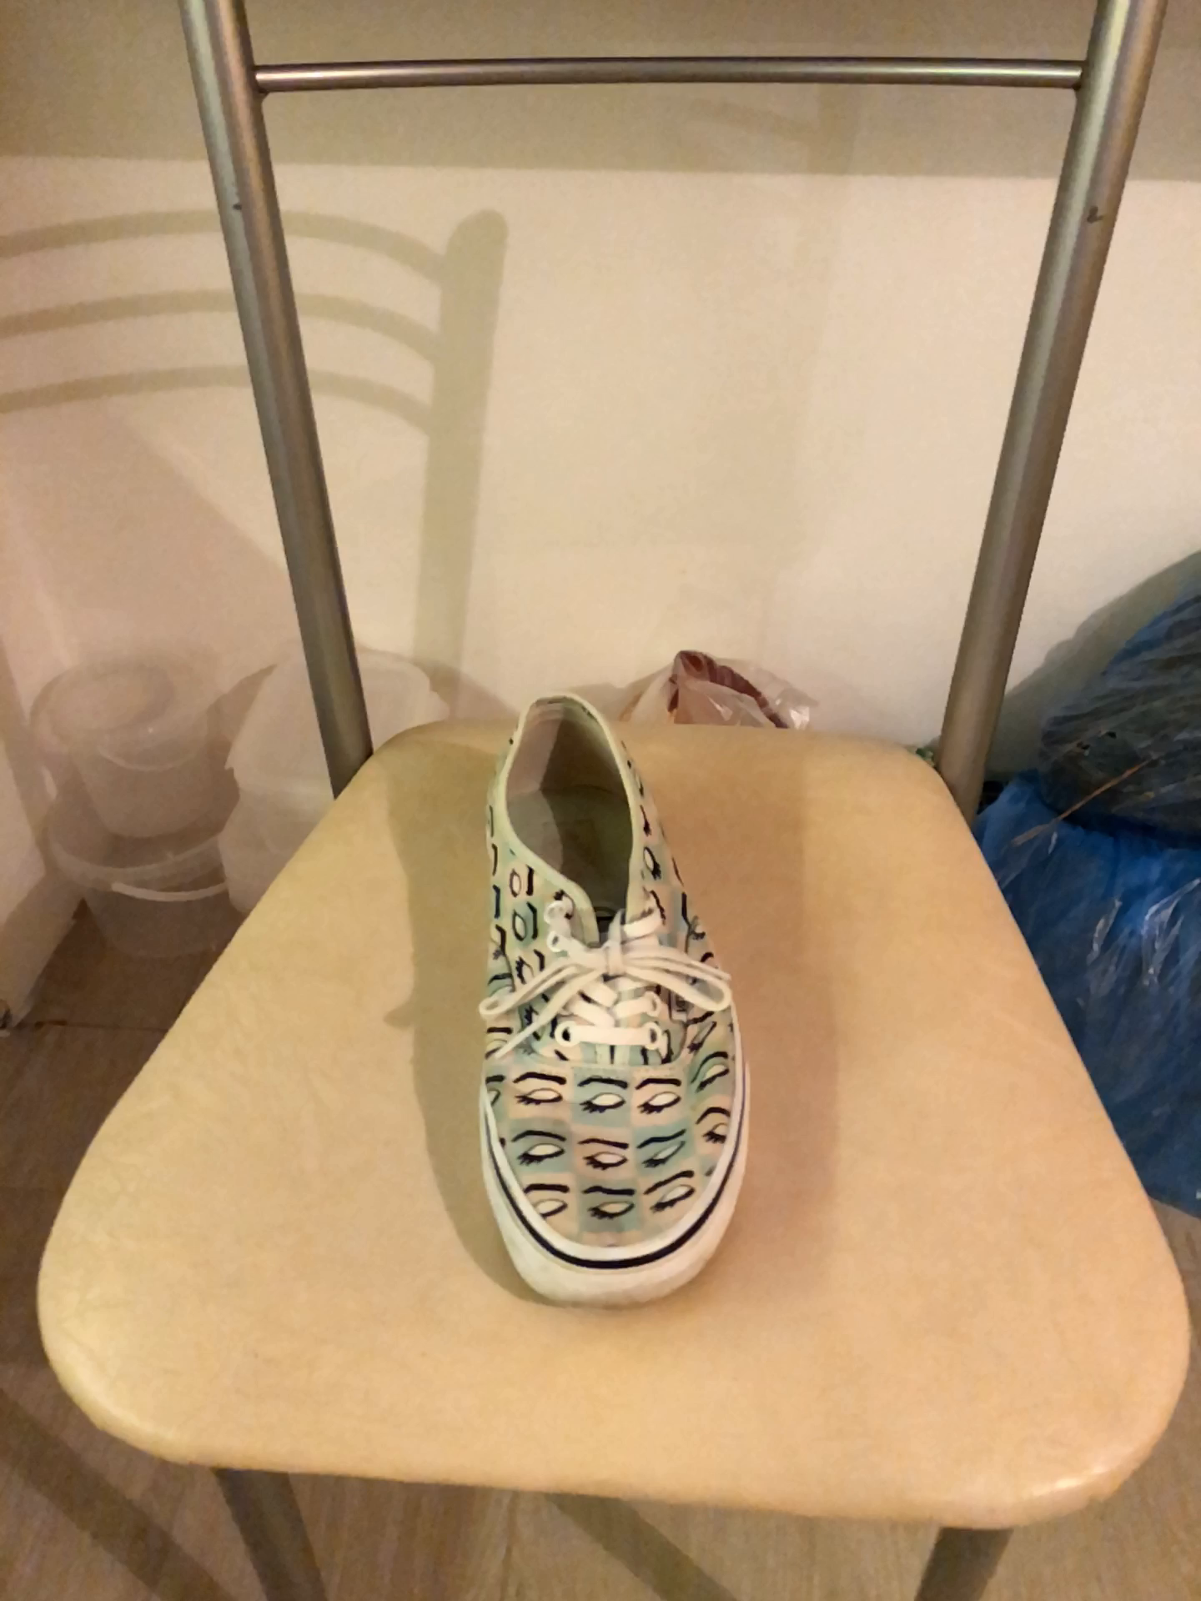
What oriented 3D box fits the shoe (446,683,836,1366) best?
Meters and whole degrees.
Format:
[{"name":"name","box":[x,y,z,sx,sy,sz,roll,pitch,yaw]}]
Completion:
[{"name":"shoe","box":[0.003,0.063,0.491,0.110,0.068,0.262,-3,41,-3]}]
